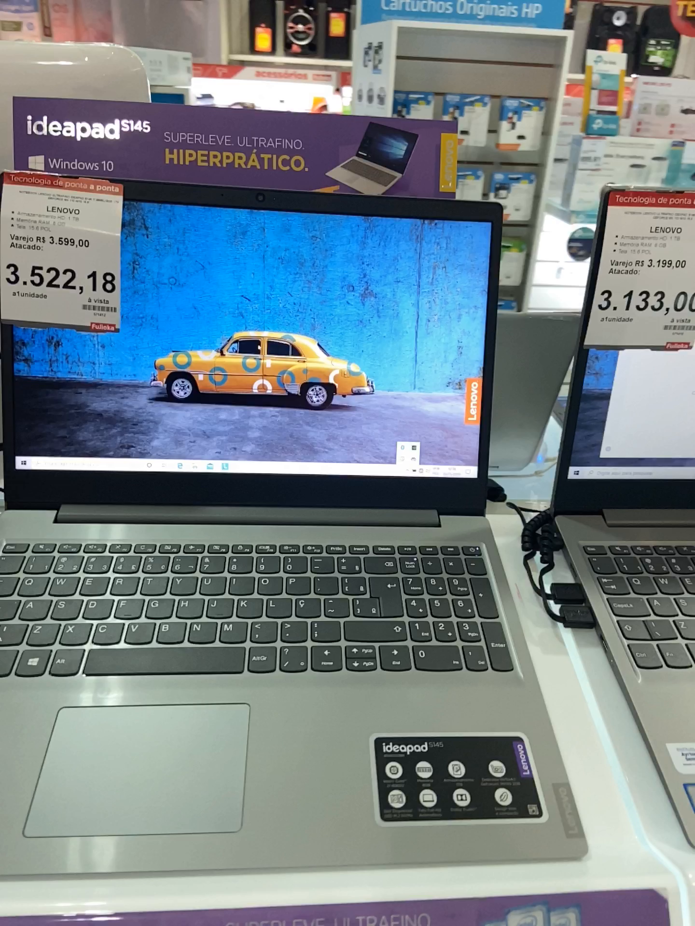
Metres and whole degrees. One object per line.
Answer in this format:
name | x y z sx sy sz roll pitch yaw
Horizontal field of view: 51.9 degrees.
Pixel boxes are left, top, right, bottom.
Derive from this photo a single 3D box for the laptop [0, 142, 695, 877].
laptop | -0.061 -0.022 0.424 0.346 0.209 0.366 1 35 -4
